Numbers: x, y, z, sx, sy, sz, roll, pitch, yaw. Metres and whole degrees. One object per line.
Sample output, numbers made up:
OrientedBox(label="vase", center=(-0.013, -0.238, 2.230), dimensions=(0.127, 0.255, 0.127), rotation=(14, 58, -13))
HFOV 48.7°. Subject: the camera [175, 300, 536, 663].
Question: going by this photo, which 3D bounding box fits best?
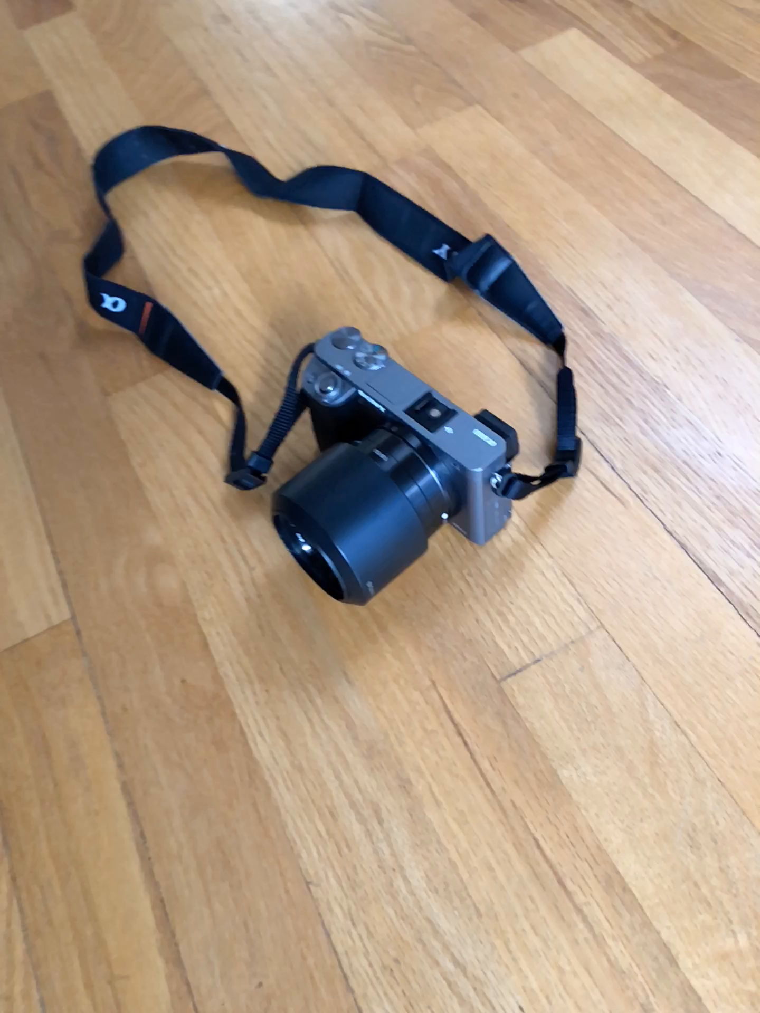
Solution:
OrientedBox(label="camera", center=(-0.010, -0.017, 0.425), dimensions=(0.107, 0.079, 0.136), rotation=(-40, 59, -19))
